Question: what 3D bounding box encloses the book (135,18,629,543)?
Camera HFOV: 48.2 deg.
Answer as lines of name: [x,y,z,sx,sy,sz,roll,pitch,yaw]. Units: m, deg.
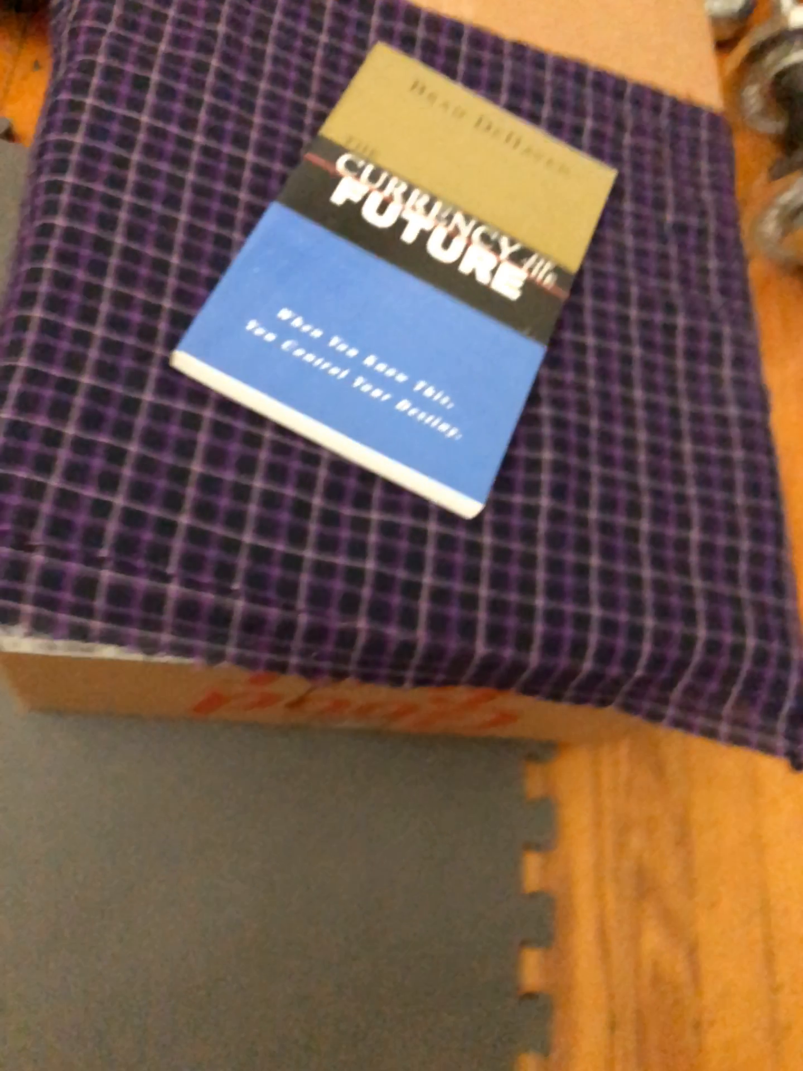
book: [0.004,-0.124,0.403,0.150,0.020,0.221,26,64,-5]
